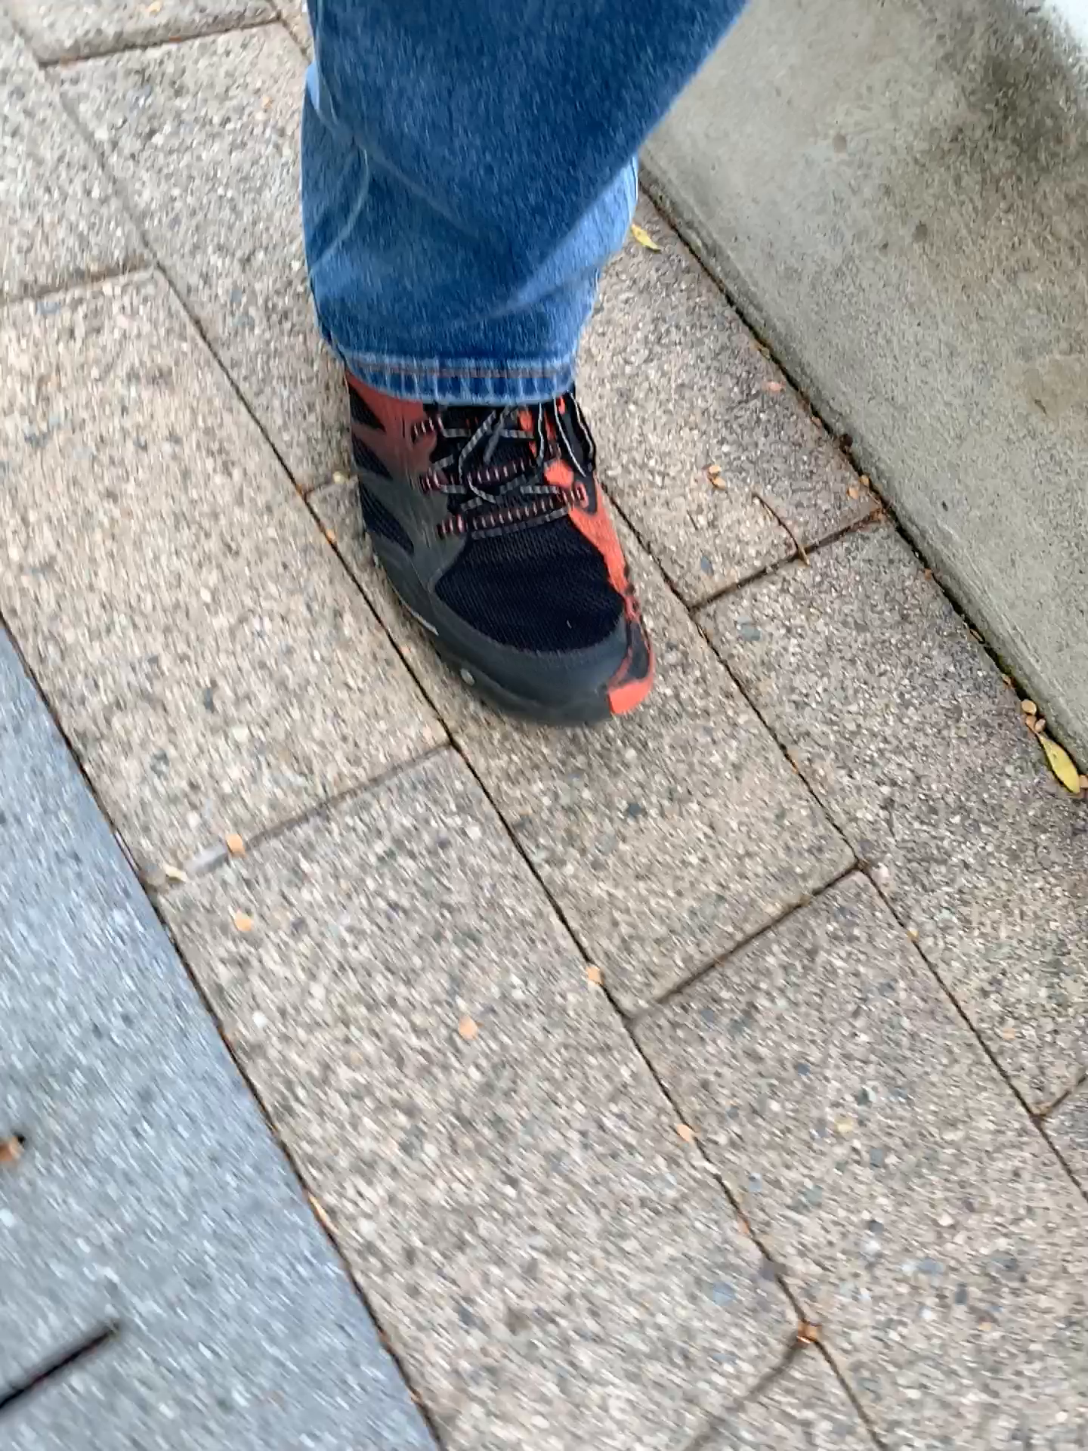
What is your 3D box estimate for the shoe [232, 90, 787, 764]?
[{"bbox_3d":[-0.028,-0.152,0.534,0.137,0.080,0.306,-19,74,-23],"label":"shoe"}]
